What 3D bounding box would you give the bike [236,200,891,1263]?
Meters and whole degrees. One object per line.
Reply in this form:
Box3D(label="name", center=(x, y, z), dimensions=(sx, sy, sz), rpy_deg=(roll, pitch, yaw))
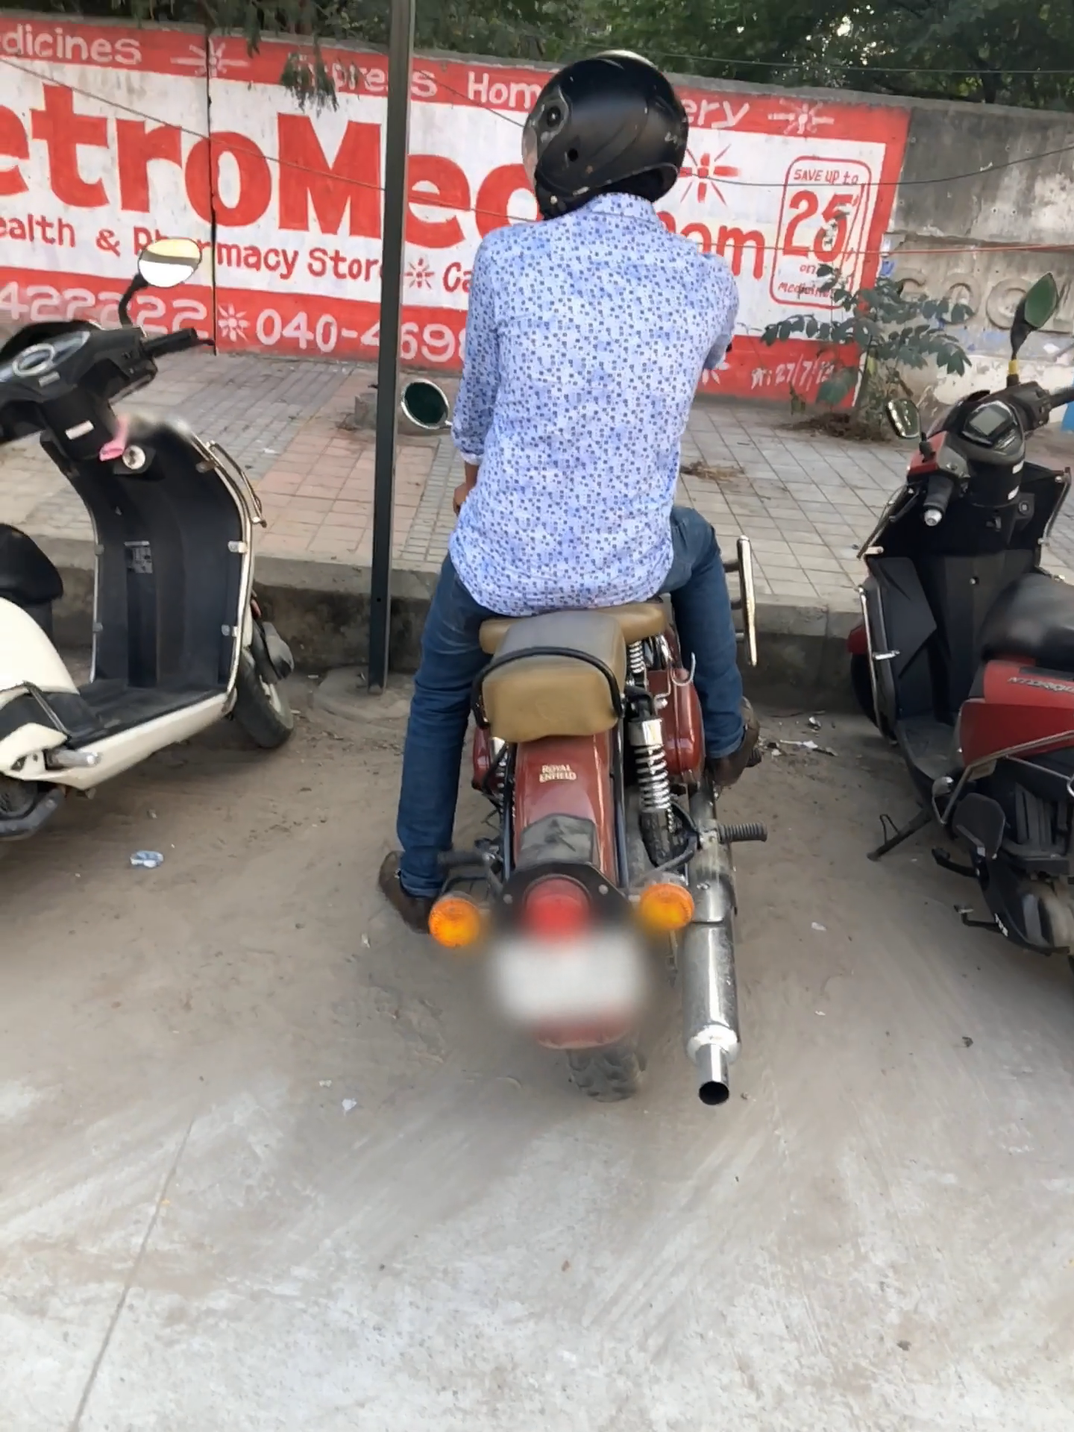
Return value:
Box3D(label="bike", center=(0.008, -0.159, 2.322), dimensions=(0.792, 1.256, 1.558), rpy_deg=(6, 29, 0))
